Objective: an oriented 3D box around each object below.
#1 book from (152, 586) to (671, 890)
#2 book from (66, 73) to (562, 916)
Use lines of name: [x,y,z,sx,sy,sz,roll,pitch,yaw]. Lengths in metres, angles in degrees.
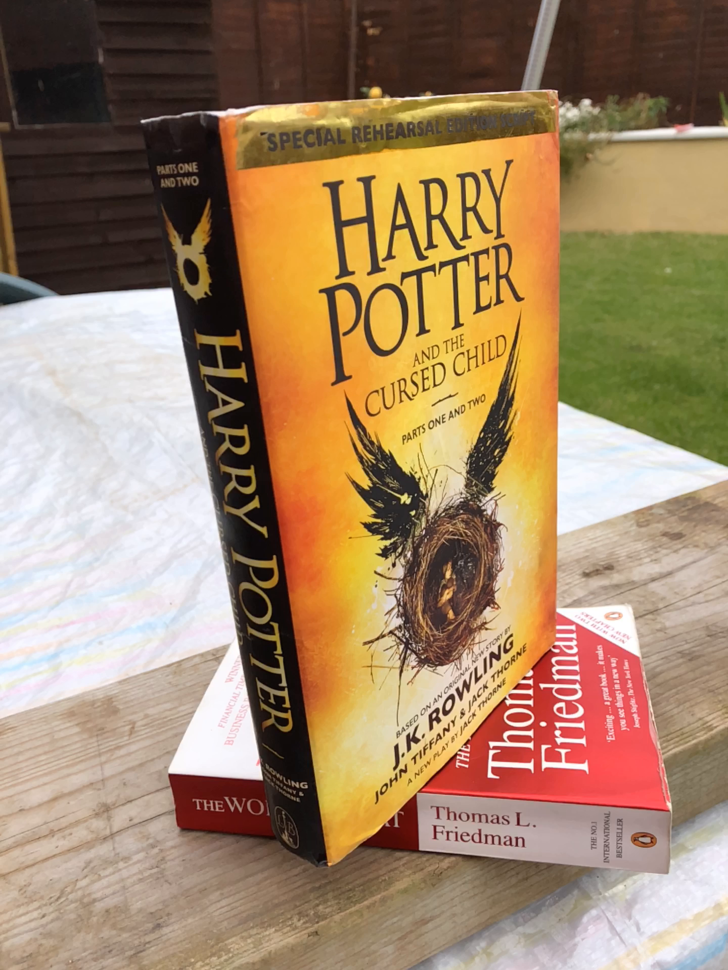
book: [0.025,0.100,0.360,0.190,0.040,0.131,1,24,11]
book: [0.009,-0.007,0.284,0.040,0.239,0.171,12,26,40]
